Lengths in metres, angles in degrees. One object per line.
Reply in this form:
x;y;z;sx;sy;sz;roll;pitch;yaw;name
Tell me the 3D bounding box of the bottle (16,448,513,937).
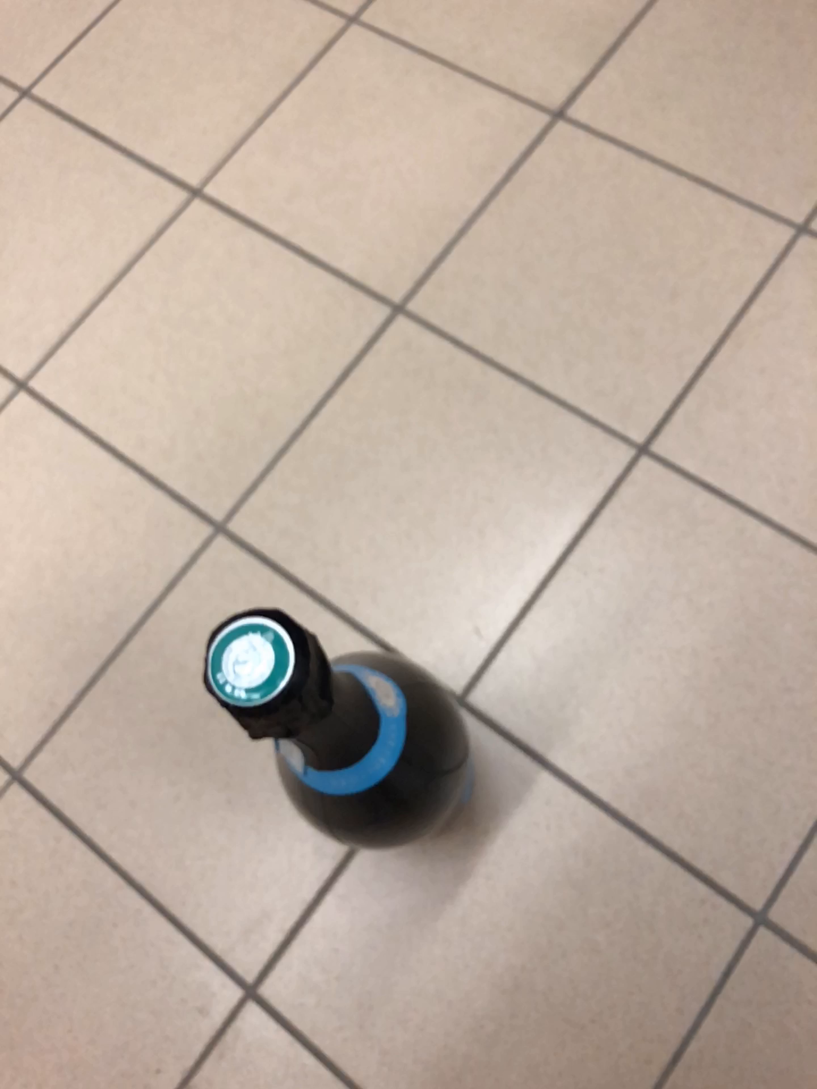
-0.027;0.084;0.390;0.090;0.300;0.100;-36;69;-5;bottle
